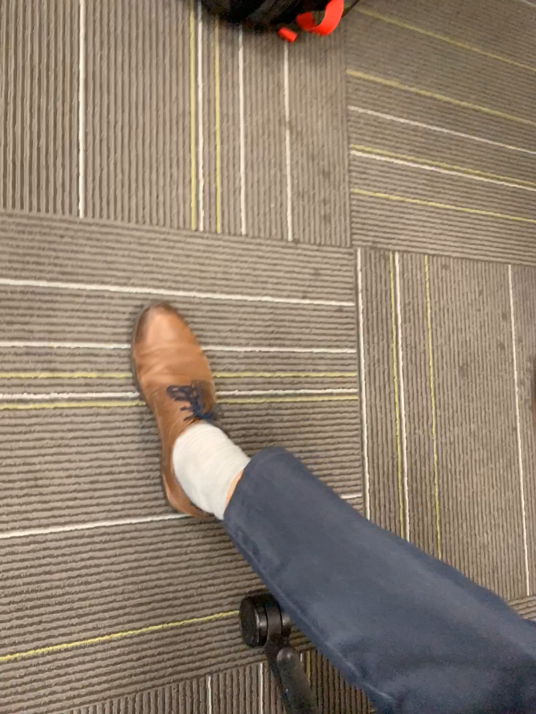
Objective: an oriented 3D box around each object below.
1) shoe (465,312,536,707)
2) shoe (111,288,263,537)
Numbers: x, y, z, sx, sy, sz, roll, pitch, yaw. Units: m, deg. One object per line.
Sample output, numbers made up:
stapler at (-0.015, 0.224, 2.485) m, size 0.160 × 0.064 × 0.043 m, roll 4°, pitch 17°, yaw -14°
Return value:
shoe at (0.284, 0.123, 0.466) m, size 0.082 × 0.114 × 0.293 m, roll -16°, pitch 86°, yaw -55°
shoe at (-0.101, 0.064, 0.686) m, size 0.112 × 0.068 × 0.276 m, roll -14°, pitch 92°, yaw -25°
